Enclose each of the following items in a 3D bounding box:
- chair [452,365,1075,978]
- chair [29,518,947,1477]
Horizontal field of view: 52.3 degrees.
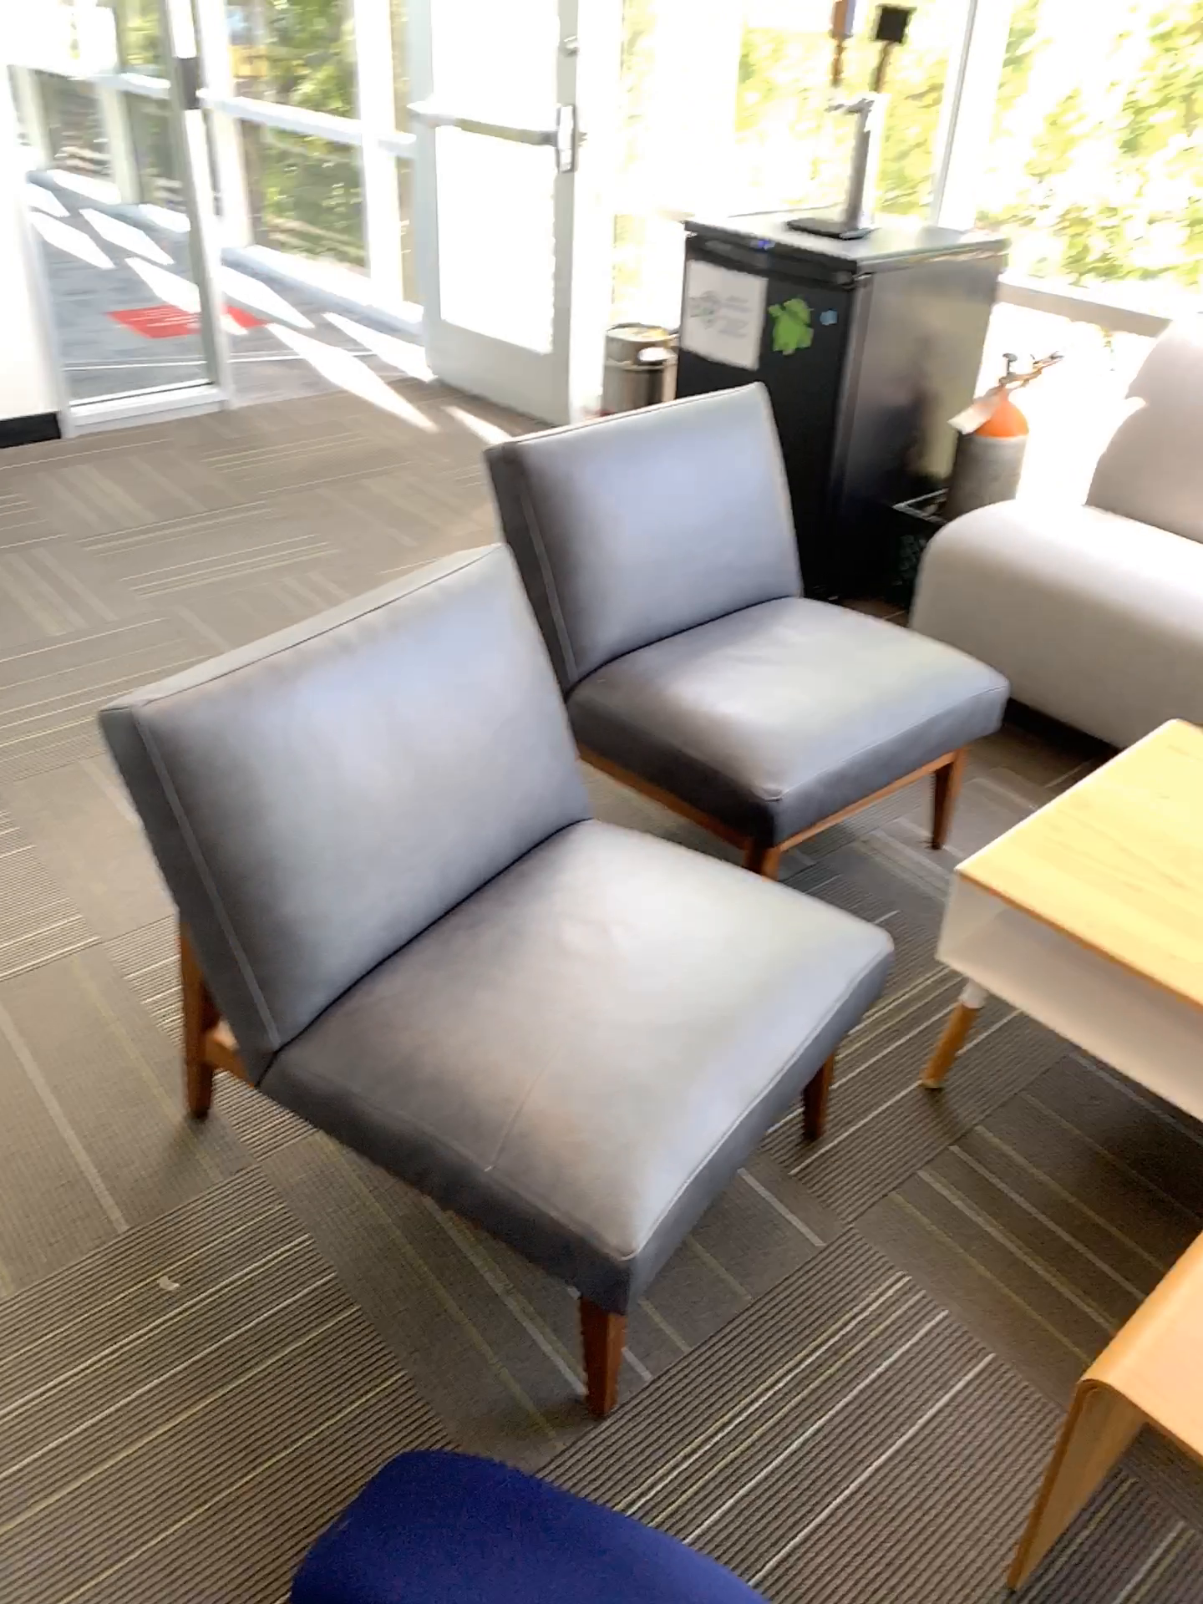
[{"bbox_3d":[0.270,-0.322,2.438,0.742,0.765,0.853,-26,44,-36],"label":"chair"},{"bbox_3d":[-0.139,0.180,1.672,0.852,0.765,0.682,24,39,28],"label":"chair"}]
